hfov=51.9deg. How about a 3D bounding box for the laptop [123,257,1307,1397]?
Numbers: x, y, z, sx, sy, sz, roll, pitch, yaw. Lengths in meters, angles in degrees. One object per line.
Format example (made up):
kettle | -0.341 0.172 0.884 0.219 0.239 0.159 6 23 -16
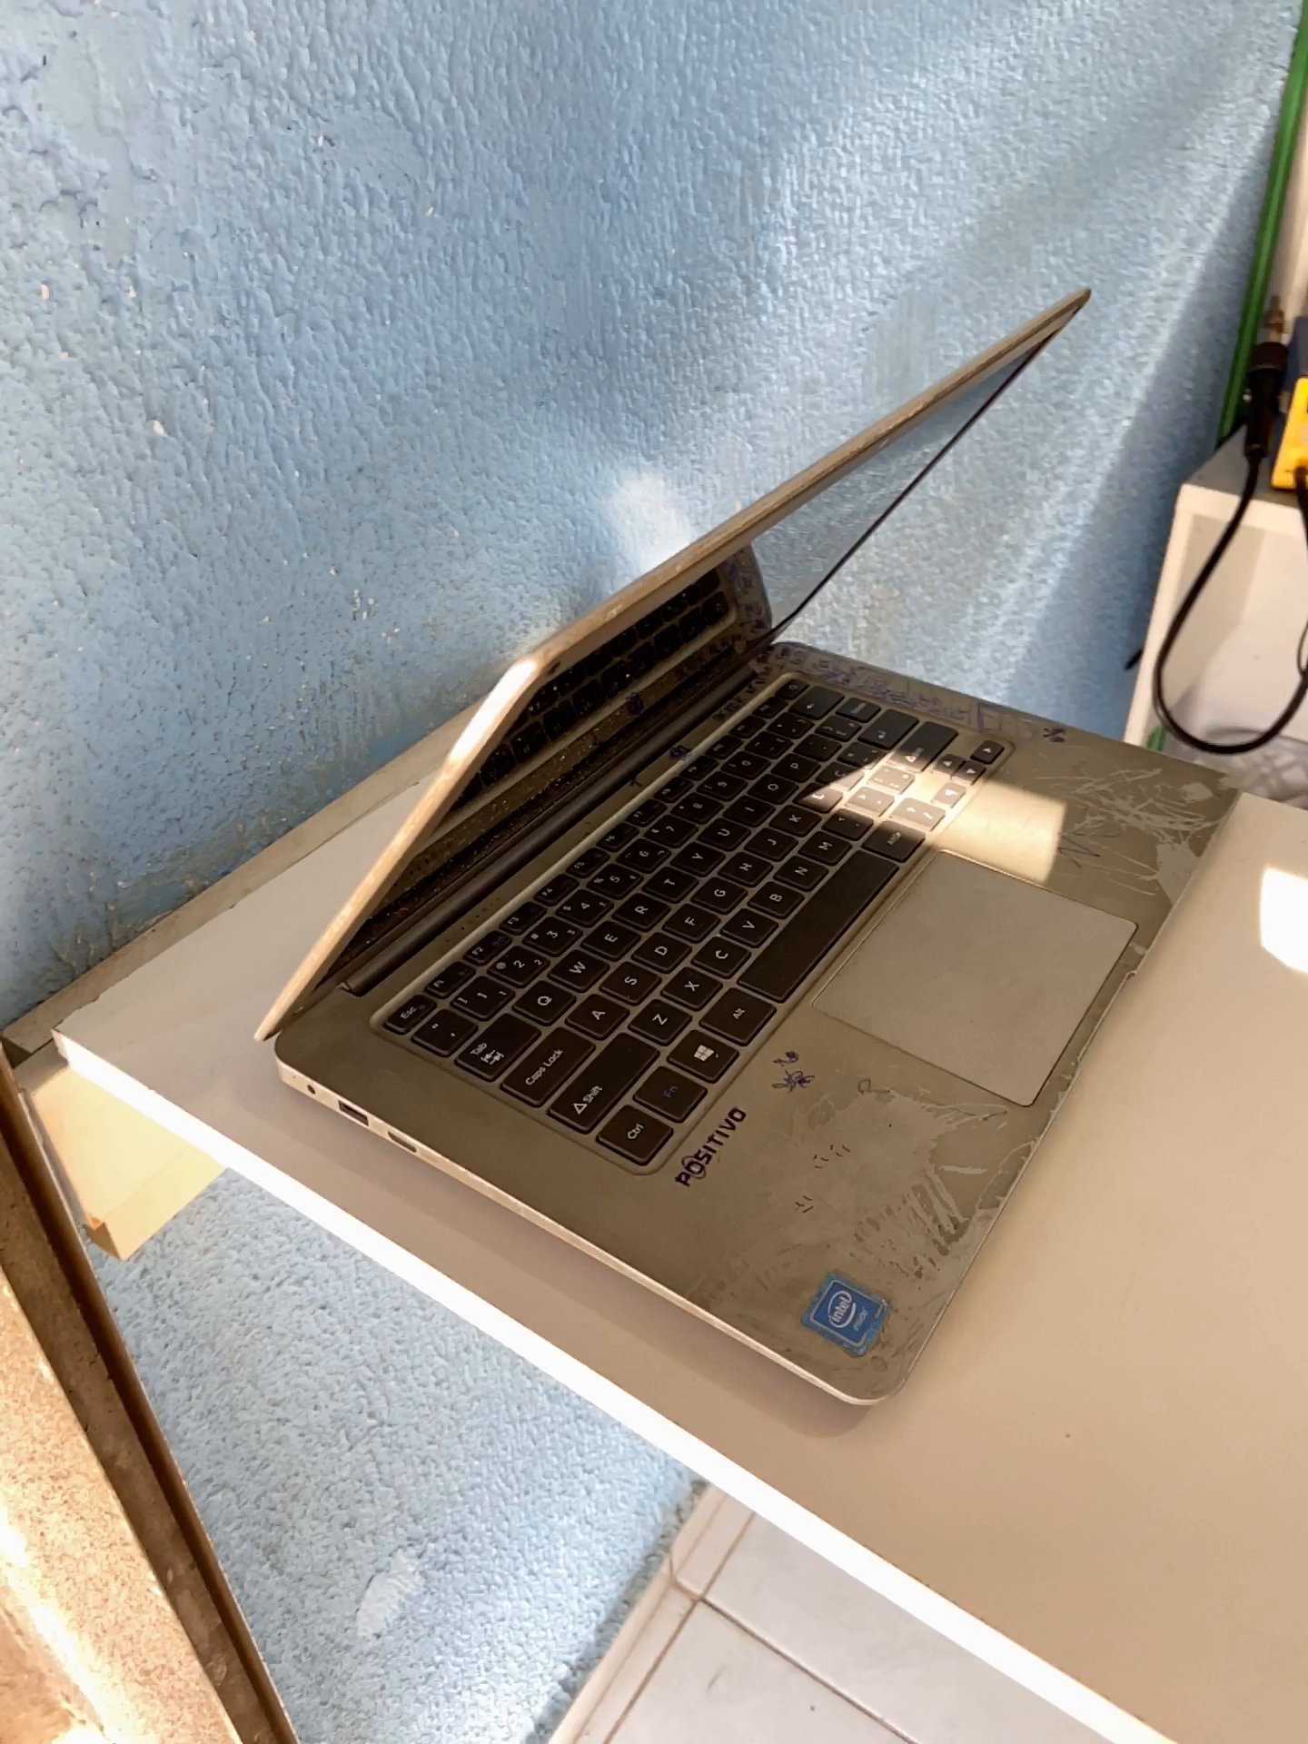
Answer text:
laptop | 0.054 -0.059 0.431 0.212 0.167 0.328 22 43 27
